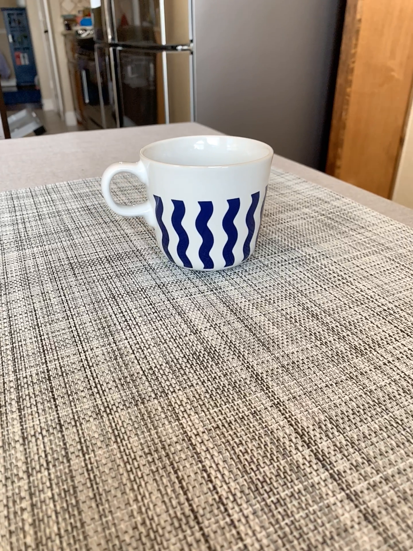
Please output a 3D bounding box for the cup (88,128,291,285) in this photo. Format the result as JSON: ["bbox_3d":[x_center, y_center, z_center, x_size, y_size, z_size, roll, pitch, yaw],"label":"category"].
[{"bbox_3d":[-0.014,-0.052,0.291,0.112,0.072,0.087,-5,30,-8],"label":"cup"}]
